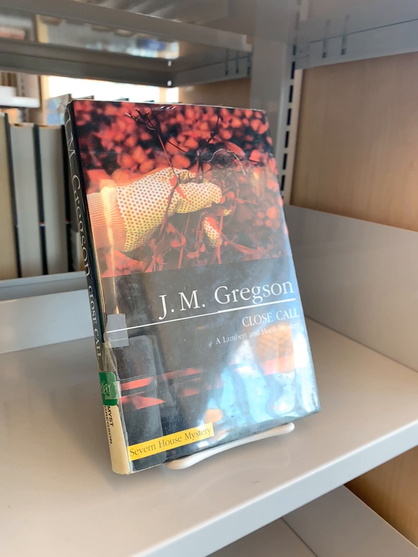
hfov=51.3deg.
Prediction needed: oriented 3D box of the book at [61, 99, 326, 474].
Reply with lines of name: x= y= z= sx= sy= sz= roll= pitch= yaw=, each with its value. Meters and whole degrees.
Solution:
book: x=-0.007 y=-0.005 z=0.282 sx=0.140 sy=0.208 sz=0.030 roll=-7 pitch=-5 yaw=-27
